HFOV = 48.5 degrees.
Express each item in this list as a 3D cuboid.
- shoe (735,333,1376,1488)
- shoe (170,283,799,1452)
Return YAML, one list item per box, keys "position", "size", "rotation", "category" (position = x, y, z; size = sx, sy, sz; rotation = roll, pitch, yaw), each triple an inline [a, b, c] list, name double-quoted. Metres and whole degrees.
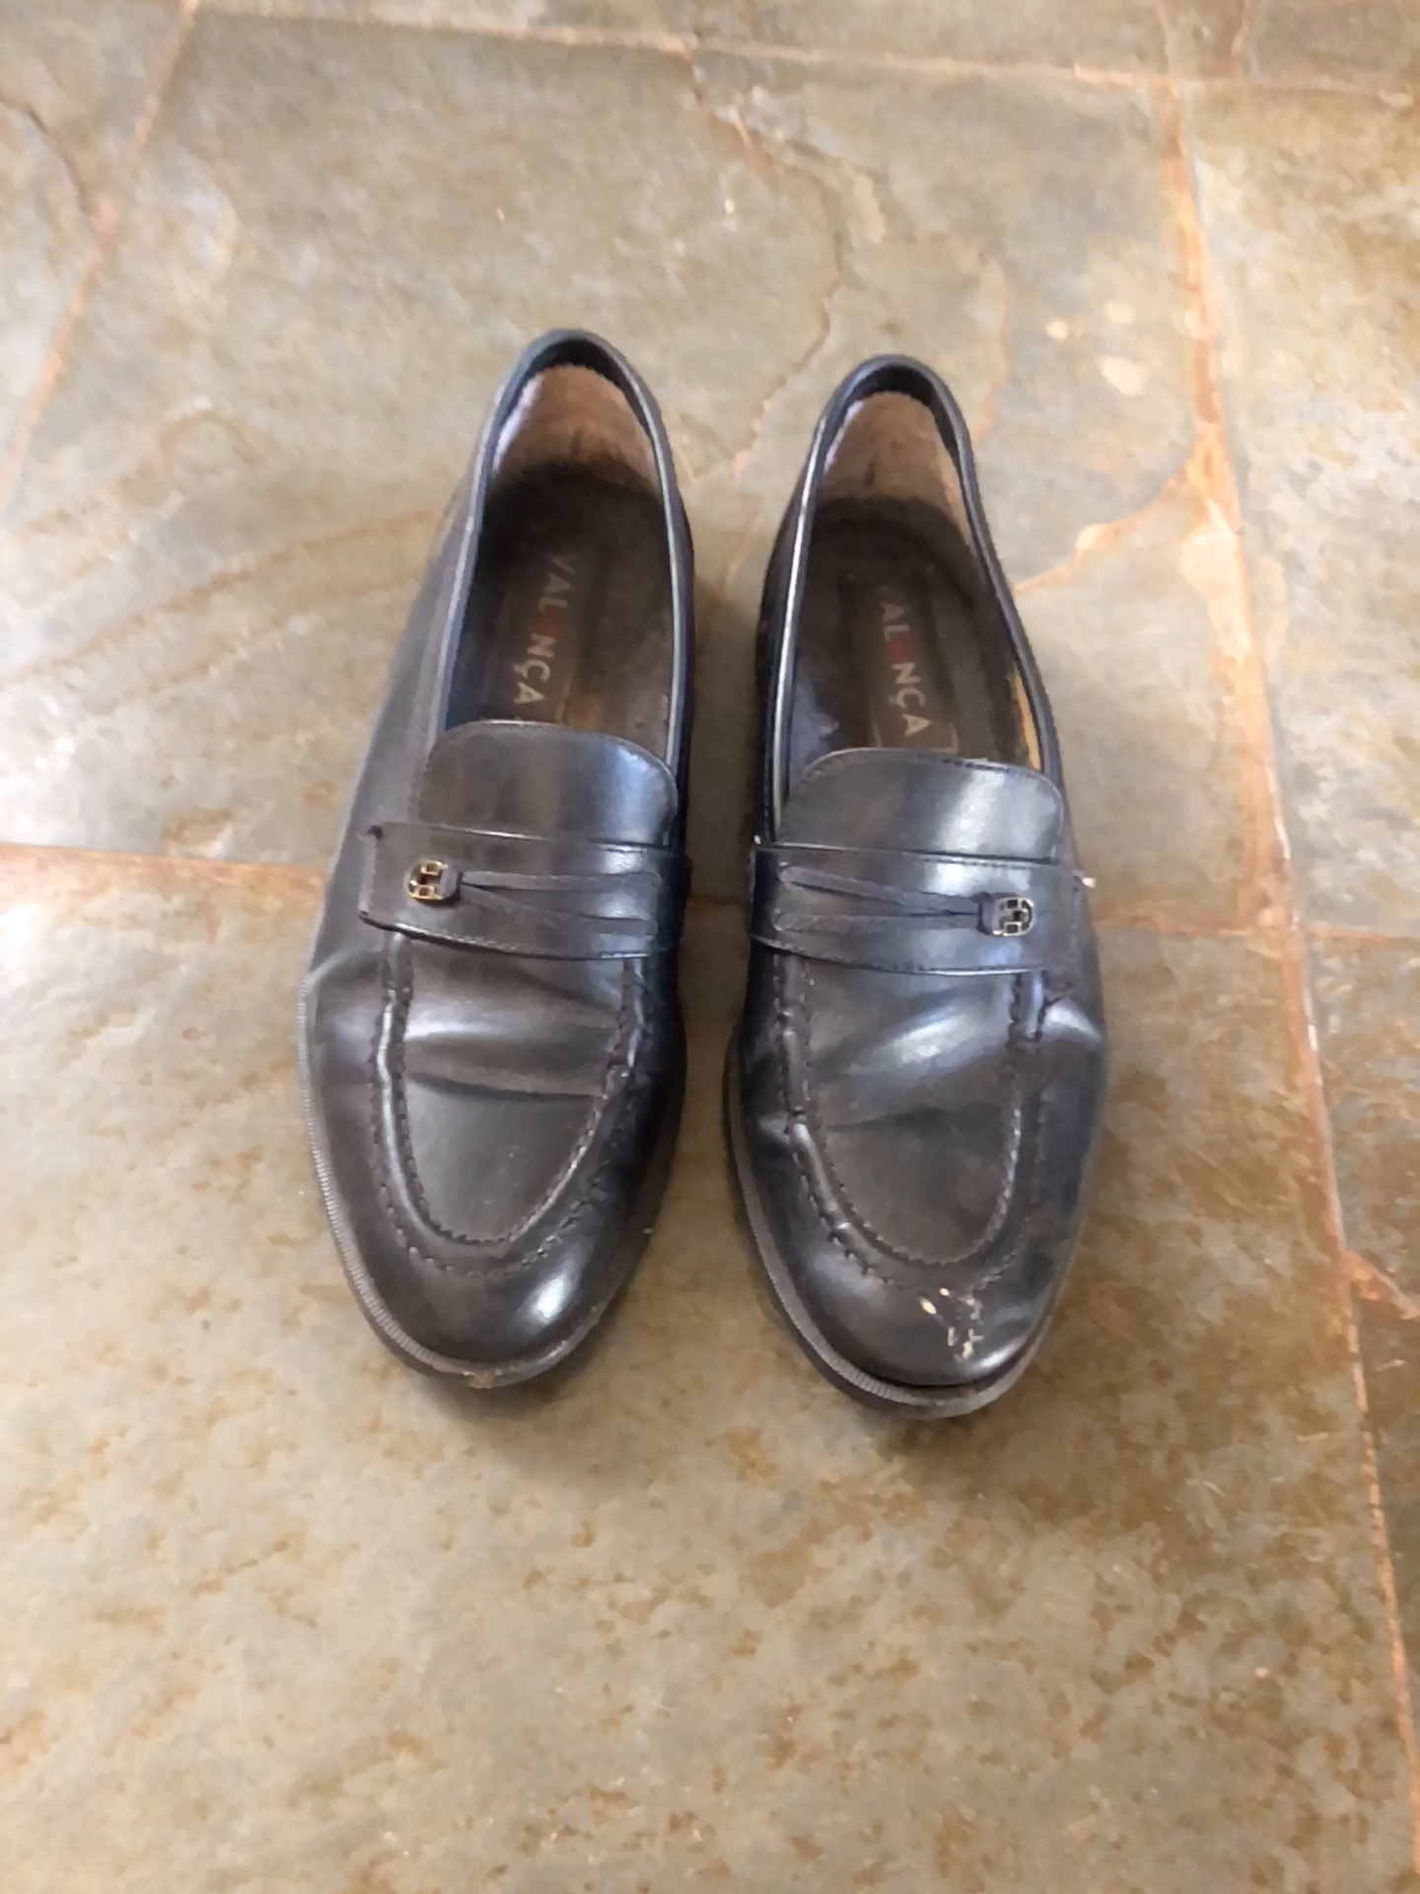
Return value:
- position: [0.061, -0.016, 0.377]
  size: [0.100, 0.099, 0.262]
  rotation: [1, 60, -2]
  category: "shoe"
- position: [-0.037, -0.027, 0.378]
  size: [0.100, 0.099, 0.262]
  rotation: [4, 60, 0]
  category: "shoe"
